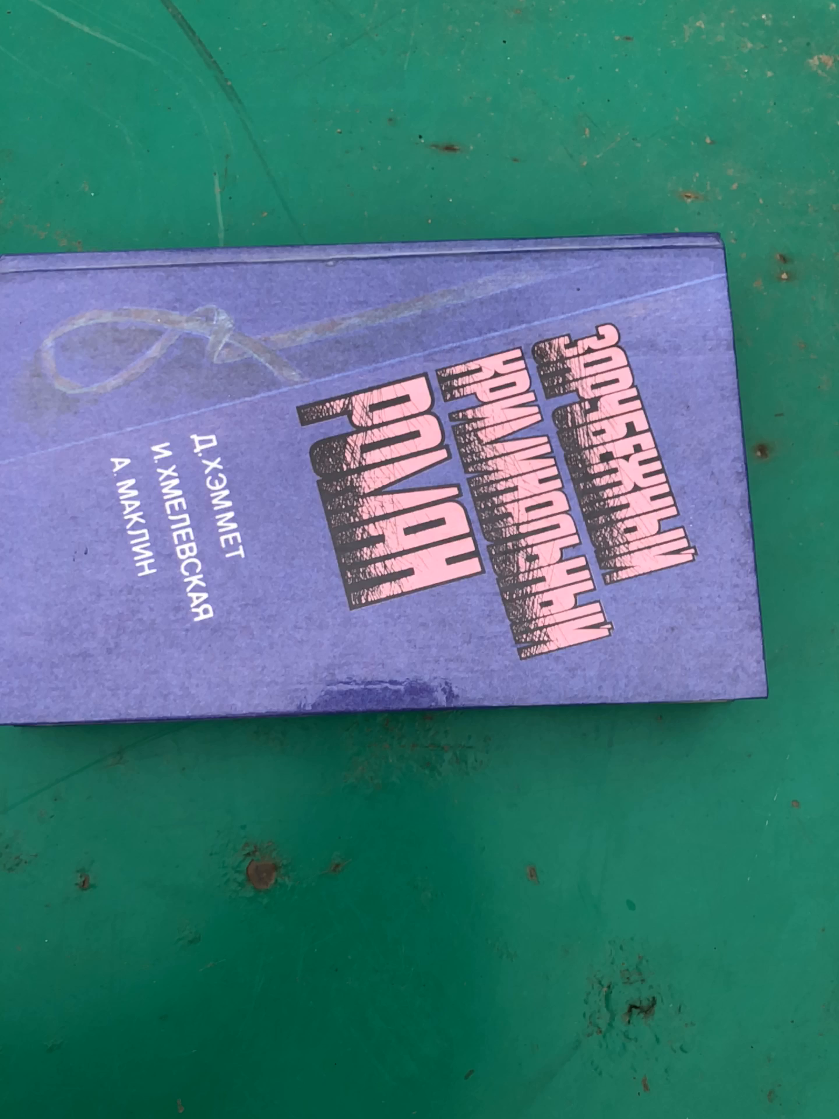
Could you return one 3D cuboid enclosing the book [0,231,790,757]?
[{"bbox_3d":[-0.013,-0.017,0.262,0.208,0.030,0.137,-1,80,1],"label":"book"}]
